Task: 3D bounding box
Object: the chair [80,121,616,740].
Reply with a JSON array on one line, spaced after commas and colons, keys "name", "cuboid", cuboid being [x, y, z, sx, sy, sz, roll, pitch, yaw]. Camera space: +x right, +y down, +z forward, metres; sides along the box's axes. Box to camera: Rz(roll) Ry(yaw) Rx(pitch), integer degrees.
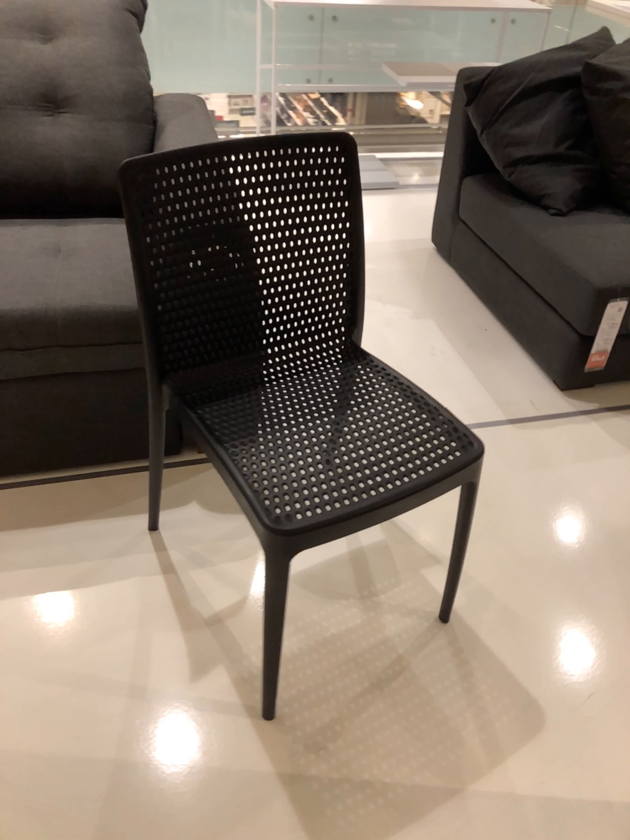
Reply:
[{"name": "chair", "cuboid": [0.001, -0.009, 1.210, 0.532, 0.784, 0.563, -19, 43, -27]}]
